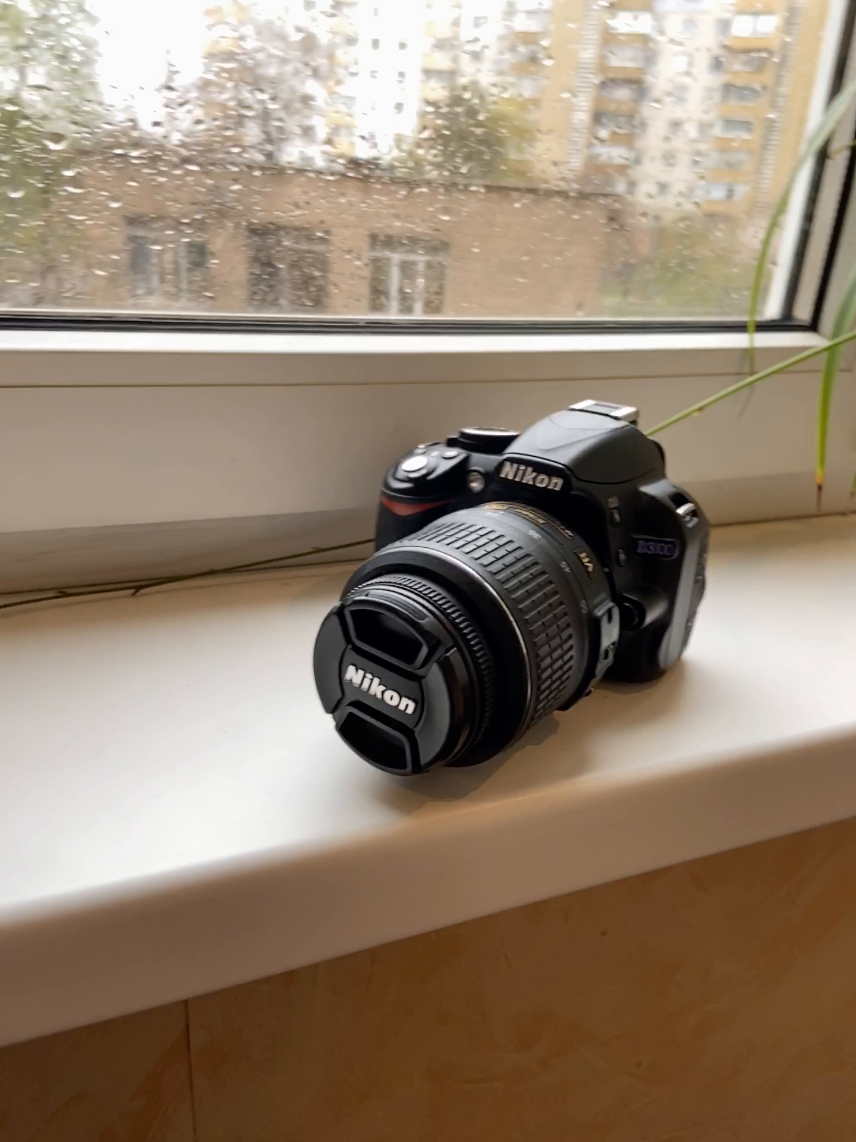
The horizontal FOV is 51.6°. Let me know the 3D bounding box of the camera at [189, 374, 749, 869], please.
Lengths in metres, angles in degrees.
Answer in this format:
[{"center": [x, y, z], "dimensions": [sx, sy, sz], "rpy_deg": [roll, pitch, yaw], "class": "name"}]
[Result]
[{"center": [0.020, -0.003, 0.312], "dimensions": [0.122, 0.092, 0.159], "rpy_deg": [19, 27, 29], "class": "camera"}]
